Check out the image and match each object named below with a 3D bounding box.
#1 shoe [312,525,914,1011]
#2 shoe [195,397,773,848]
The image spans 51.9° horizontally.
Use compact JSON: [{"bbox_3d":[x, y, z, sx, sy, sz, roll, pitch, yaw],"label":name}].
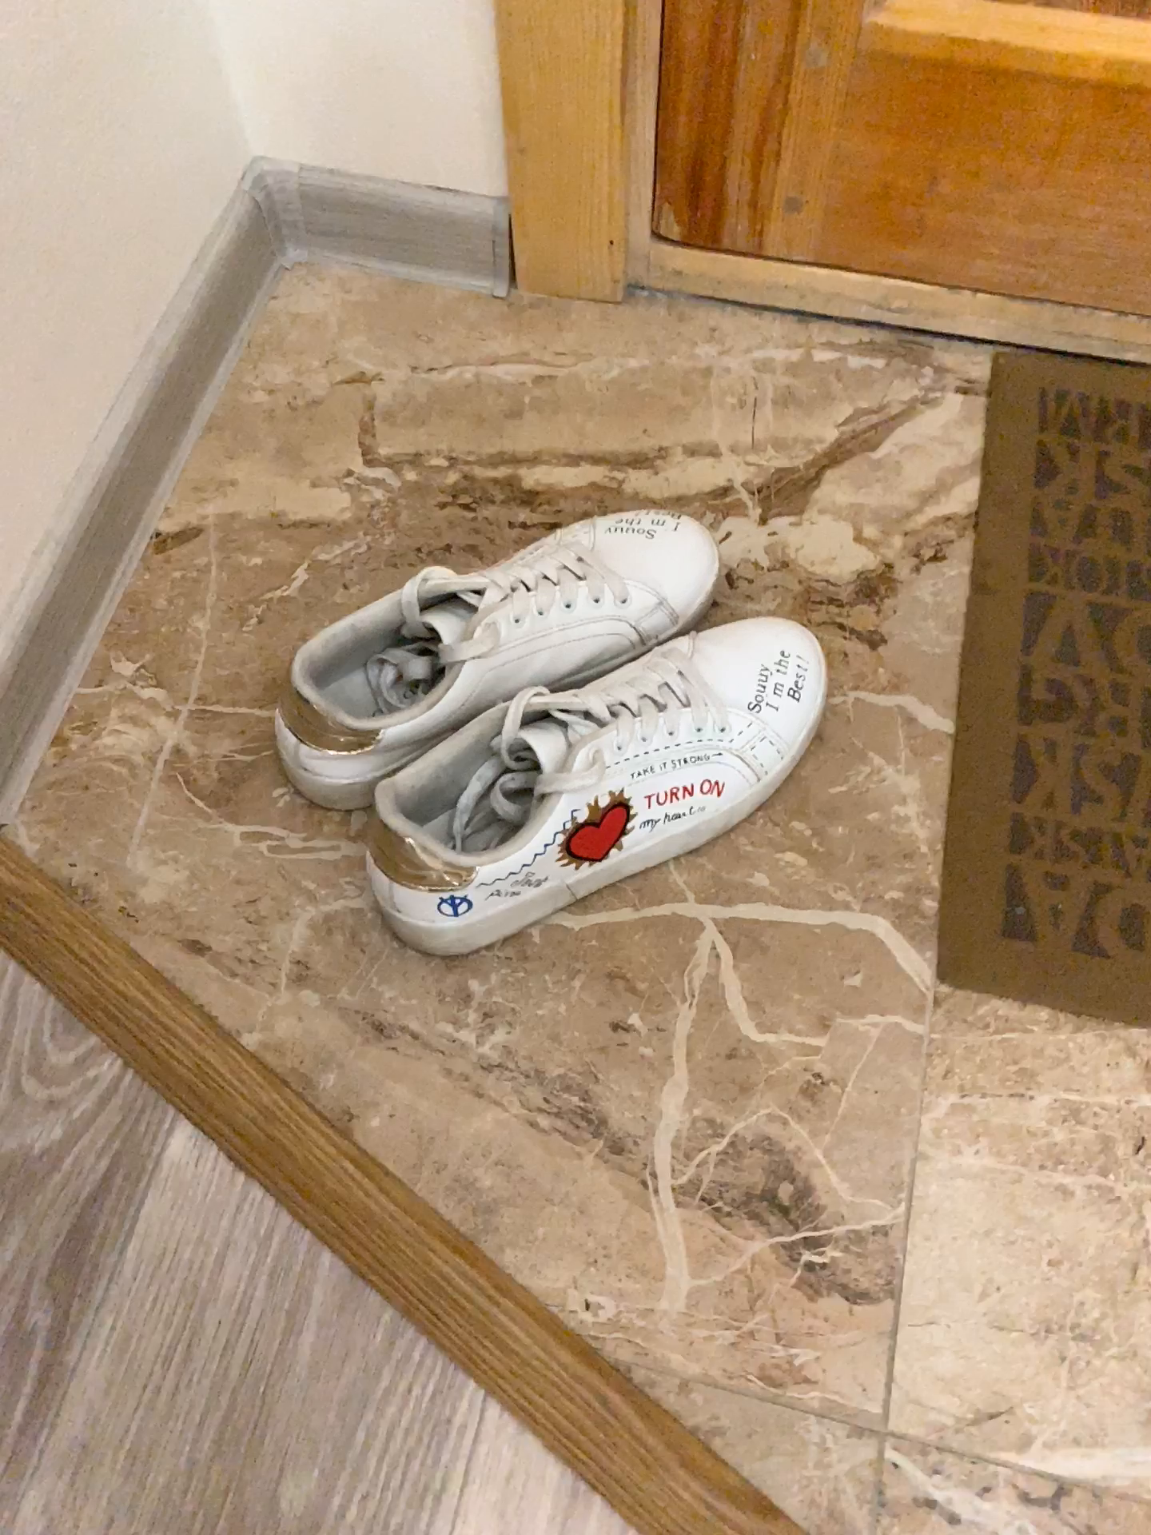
[{"bbox_3d":[0.020,-0.003,0.556,0.256,0.080,0.092,-30,66,-14],"label":"shoe"},{"bbox_3d":[-0.039,-0.074,0.584,0.256,0.080,0.092,-29,65,-13],"label":"shoe"}]
